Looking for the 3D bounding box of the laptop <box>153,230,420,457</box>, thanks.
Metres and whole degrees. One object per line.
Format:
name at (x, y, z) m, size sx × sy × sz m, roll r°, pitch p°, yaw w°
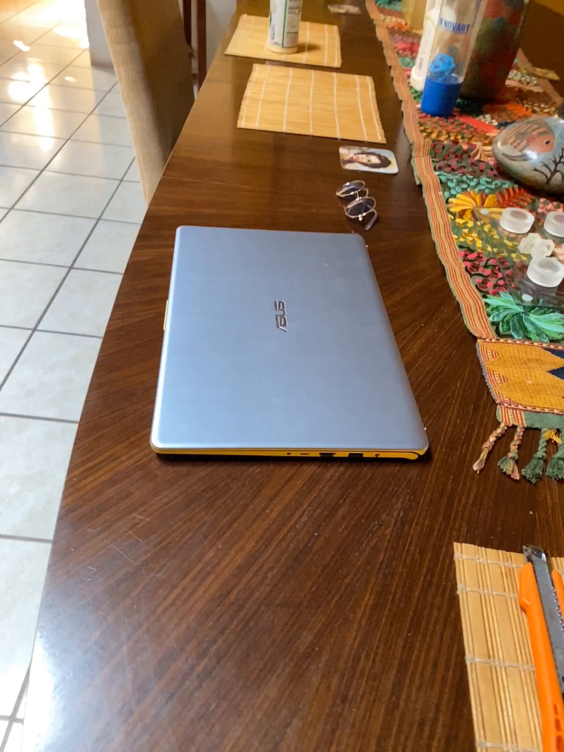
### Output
laptop at (-0.008, -0.062, 0.664) m, size 0.246 × 0.001 × 0.385 m, roll 1°, pitch 44°, yaw -7°
